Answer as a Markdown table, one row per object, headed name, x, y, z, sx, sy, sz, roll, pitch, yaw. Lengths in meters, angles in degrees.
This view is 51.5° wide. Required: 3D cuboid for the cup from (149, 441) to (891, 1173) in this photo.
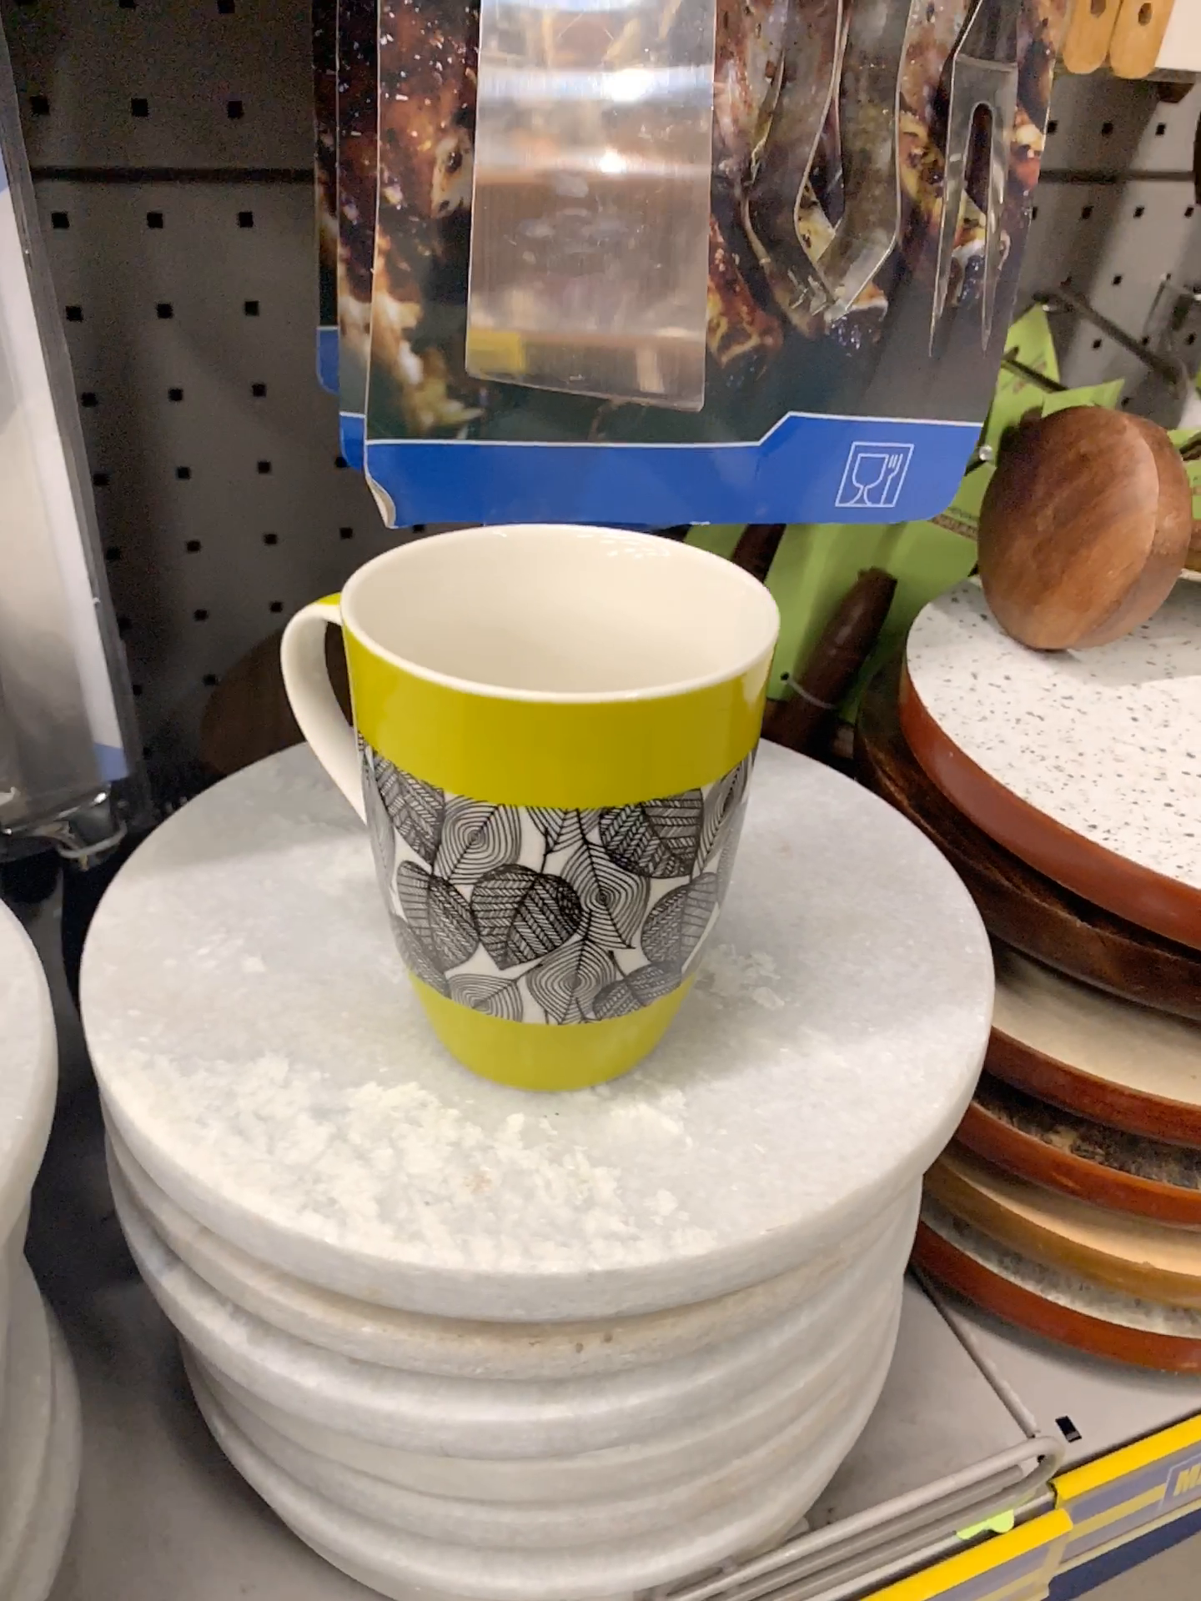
| name | x | y | z | sx | sy | sz | roll | pitch | yaw |
| --- | --- | --- | --- | --- | --- | --- | --- | --- | --- |
| cup | -0.017 | -0.007 | 0.253 | 0.110 | 0.090 | 0.080 | 24 | 38 | 27 |
